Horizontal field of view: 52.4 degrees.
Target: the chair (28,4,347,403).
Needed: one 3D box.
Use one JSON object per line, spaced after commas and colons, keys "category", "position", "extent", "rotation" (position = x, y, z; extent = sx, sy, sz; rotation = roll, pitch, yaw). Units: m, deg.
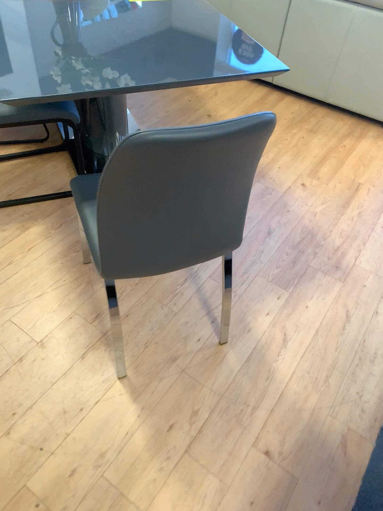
{"category": "chair", "position": [-0.093, -0.121, 1.152], "extent": [0.481, 0.892, 0.645], "rotation": [-13, 51, -17]}
